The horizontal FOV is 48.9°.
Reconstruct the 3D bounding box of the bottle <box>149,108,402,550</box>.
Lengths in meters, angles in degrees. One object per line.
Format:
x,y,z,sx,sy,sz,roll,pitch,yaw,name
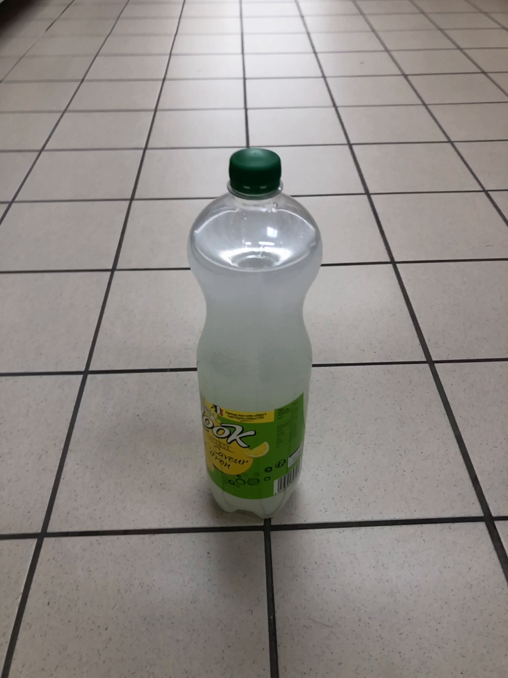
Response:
0.012,0.012,0.413,0.100,0.308,0.100,0,42,0,bottle
